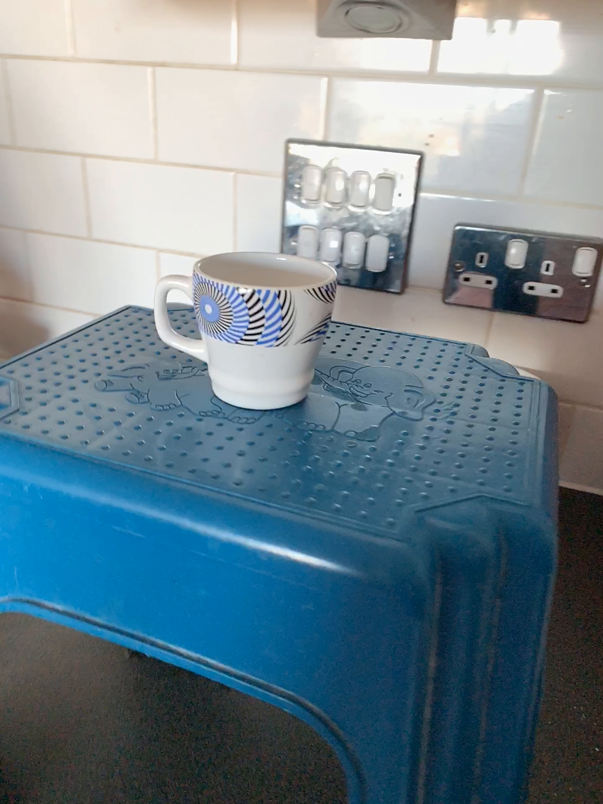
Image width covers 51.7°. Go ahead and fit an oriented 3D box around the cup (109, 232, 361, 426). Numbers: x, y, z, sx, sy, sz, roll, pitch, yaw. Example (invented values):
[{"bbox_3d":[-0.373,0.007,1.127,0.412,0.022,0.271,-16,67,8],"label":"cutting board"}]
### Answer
[{"bbox_3d":[-0.028,-0.040,0.292,0.085,0.055,0.079,3,26,-1],"label":"cup"}]
